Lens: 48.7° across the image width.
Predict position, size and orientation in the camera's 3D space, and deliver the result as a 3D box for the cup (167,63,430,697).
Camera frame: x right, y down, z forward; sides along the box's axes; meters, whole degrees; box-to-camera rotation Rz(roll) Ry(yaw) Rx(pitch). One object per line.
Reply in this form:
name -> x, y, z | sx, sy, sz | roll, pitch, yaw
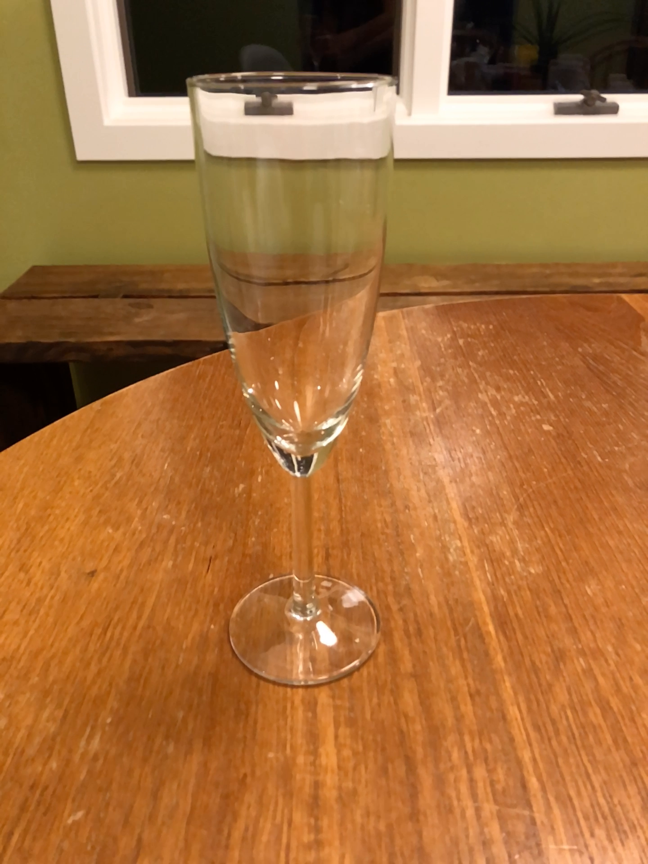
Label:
cup -> -0.011, -0.013, 0.262 | 0.066, 0.215, 0.074 | -6, 29, -10
